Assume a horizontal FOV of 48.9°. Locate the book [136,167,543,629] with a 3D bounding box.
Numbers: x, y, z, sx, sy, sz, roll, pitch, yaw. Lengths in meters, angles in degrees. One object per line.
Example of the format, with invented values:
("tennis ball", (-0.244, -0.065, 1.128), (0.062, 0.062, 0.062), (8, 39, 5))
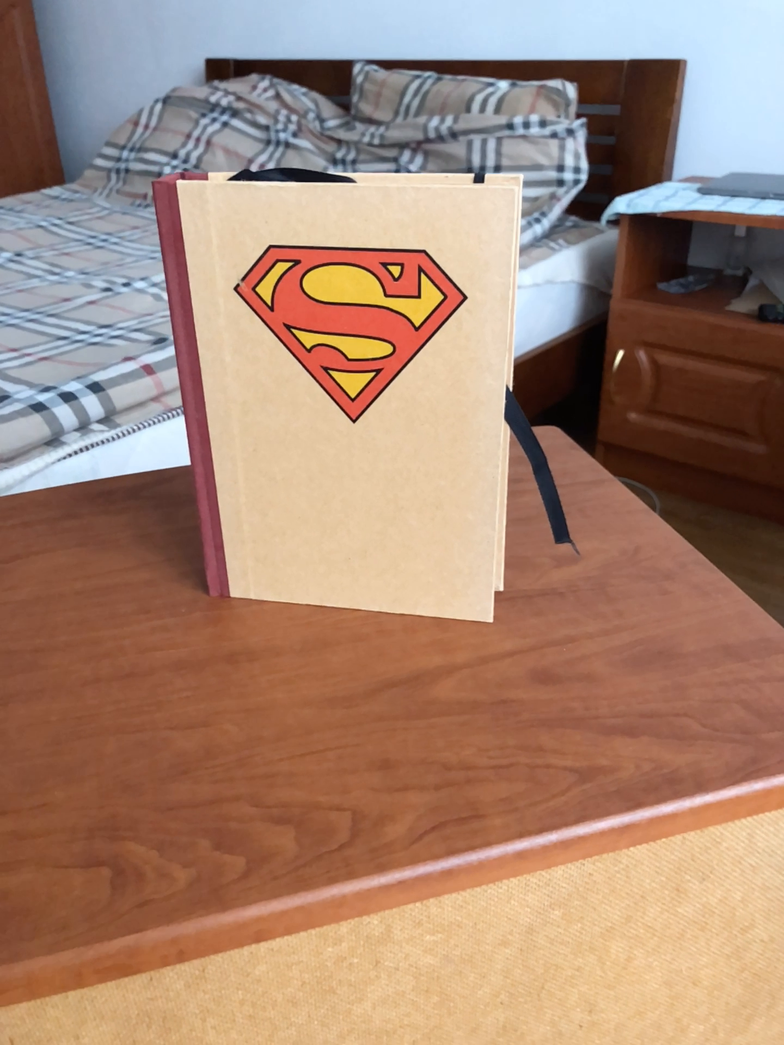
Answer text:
("book", (-0.019, -0.054, 0.403), (0.162, 0.203, 0.041), (4, 29, 10))
